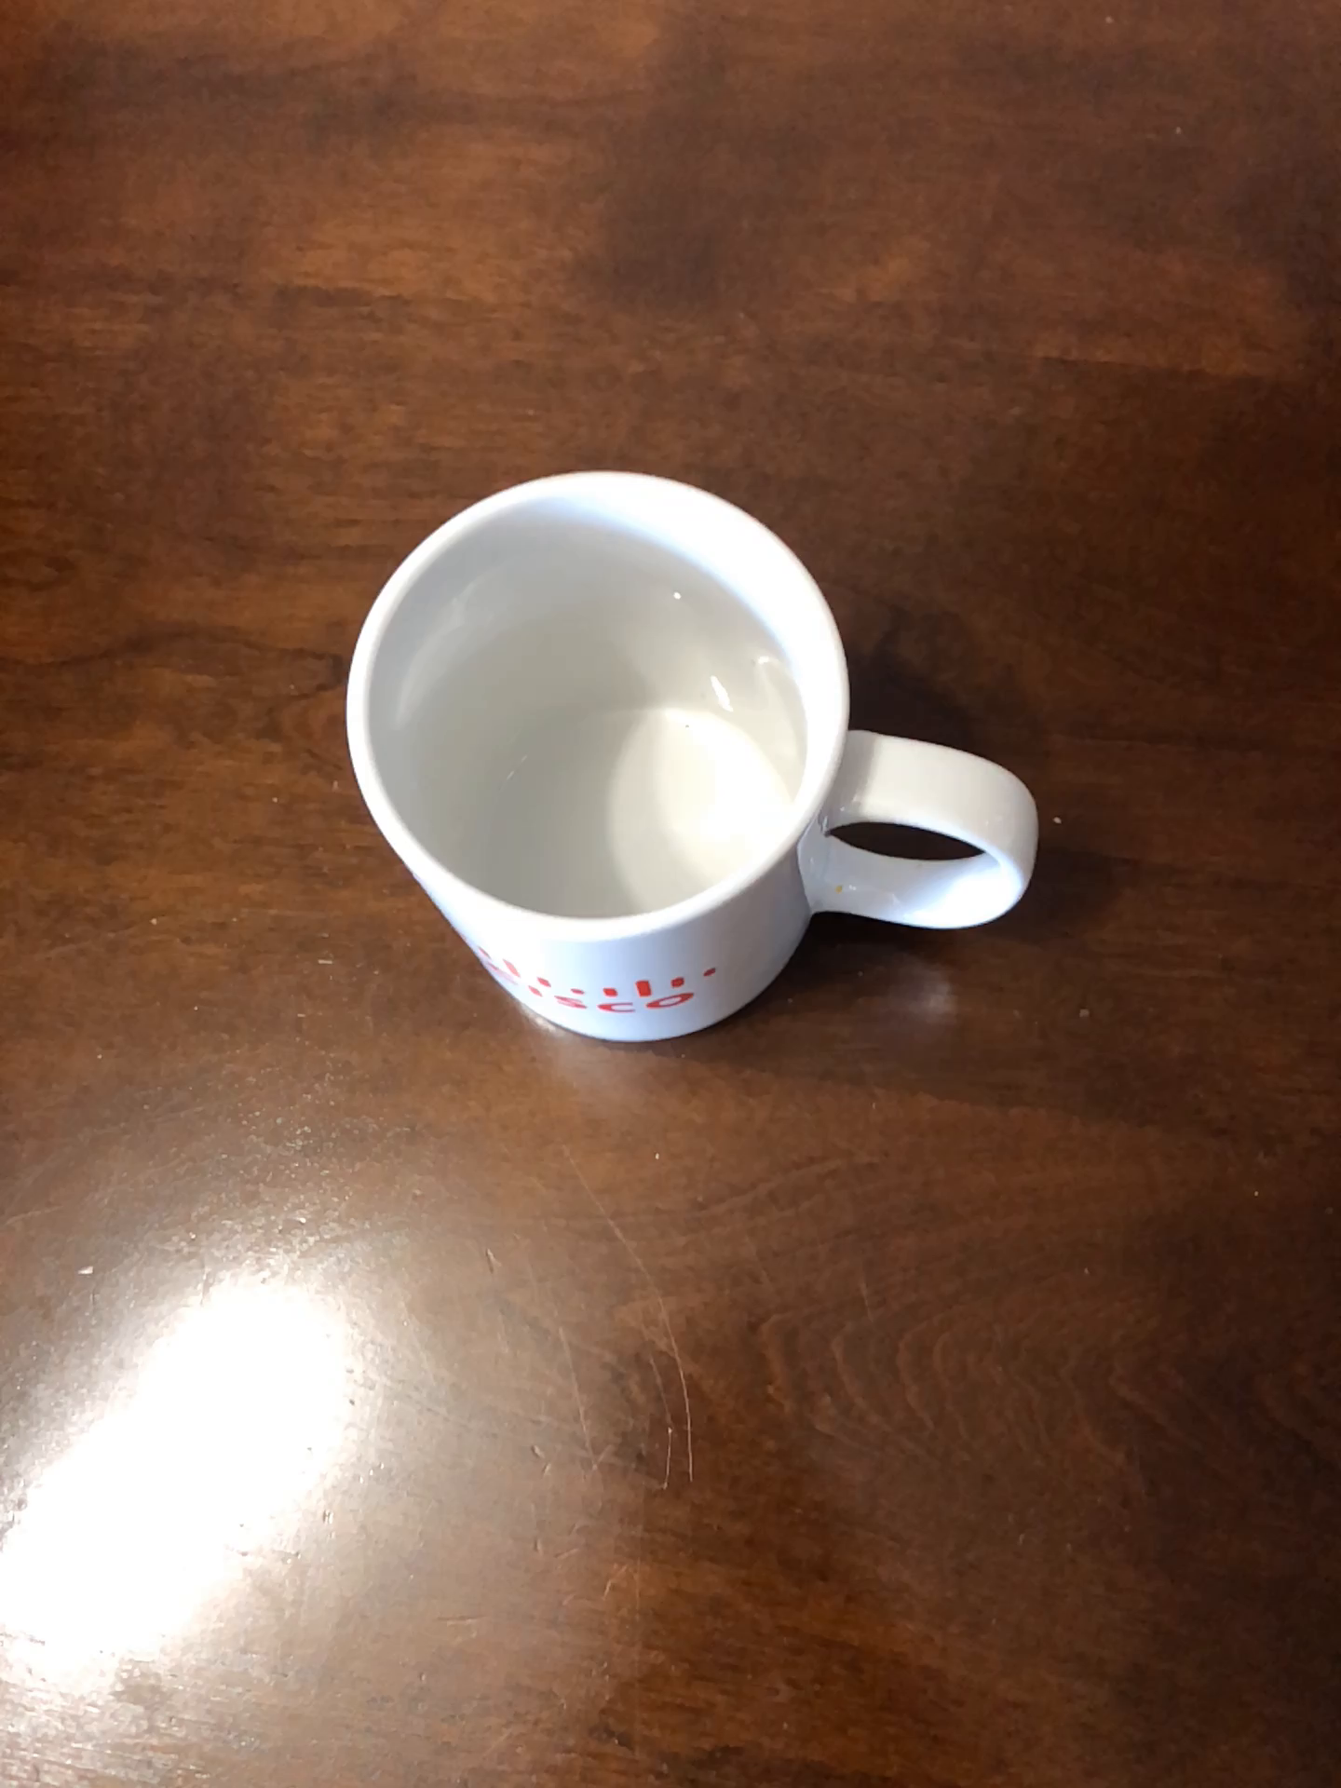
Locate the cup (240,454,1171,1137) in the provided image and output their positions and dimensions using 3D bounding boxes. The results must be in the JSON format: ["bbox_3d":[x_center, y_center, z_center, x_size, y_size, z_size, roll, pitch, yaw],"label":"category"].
[{"bbox_3d":[0.009,-0.012,0.269,0.130,0.090,0.080,8,74,6],"label":"cup"}]
